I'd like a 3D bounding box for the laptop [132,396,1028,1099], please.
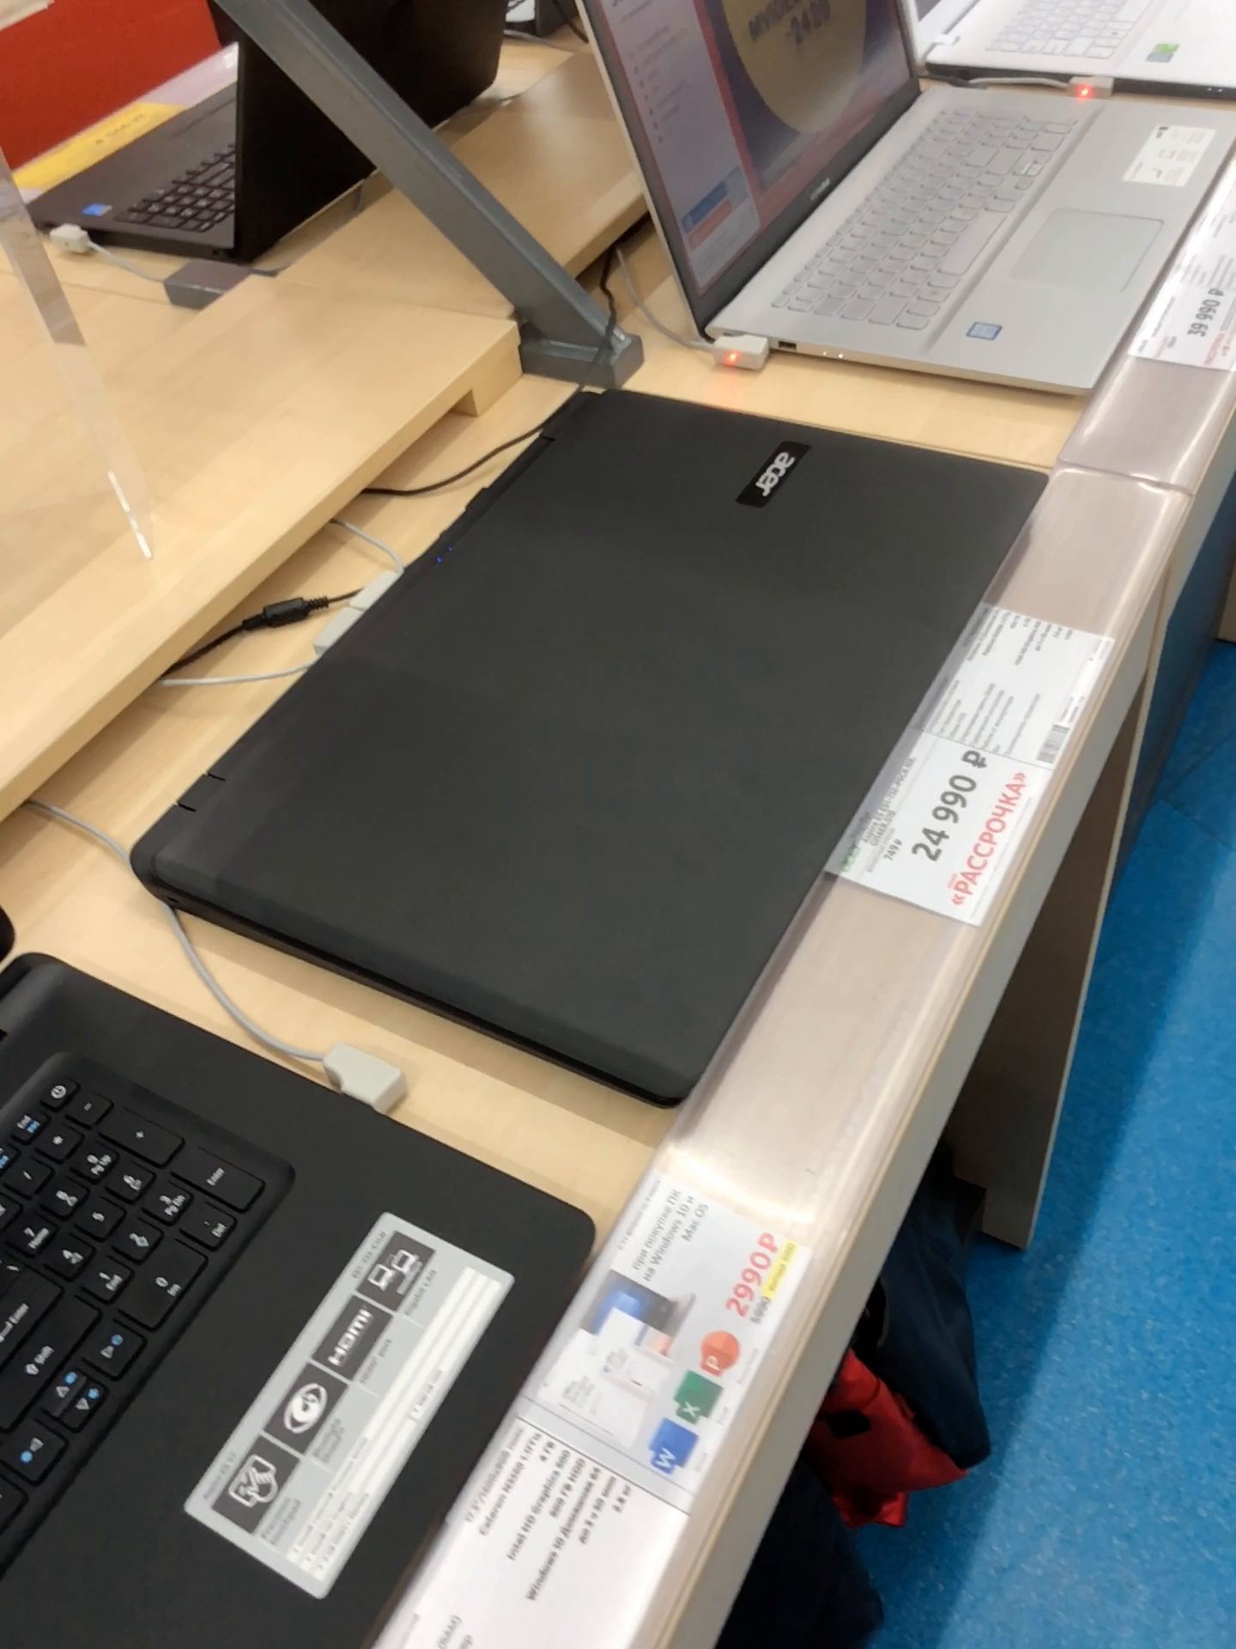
[{"bbox_3d":[0.000,-0.082,0.669,0.278,0.005,0.411,19,53,24],"label":"laptop"}]
